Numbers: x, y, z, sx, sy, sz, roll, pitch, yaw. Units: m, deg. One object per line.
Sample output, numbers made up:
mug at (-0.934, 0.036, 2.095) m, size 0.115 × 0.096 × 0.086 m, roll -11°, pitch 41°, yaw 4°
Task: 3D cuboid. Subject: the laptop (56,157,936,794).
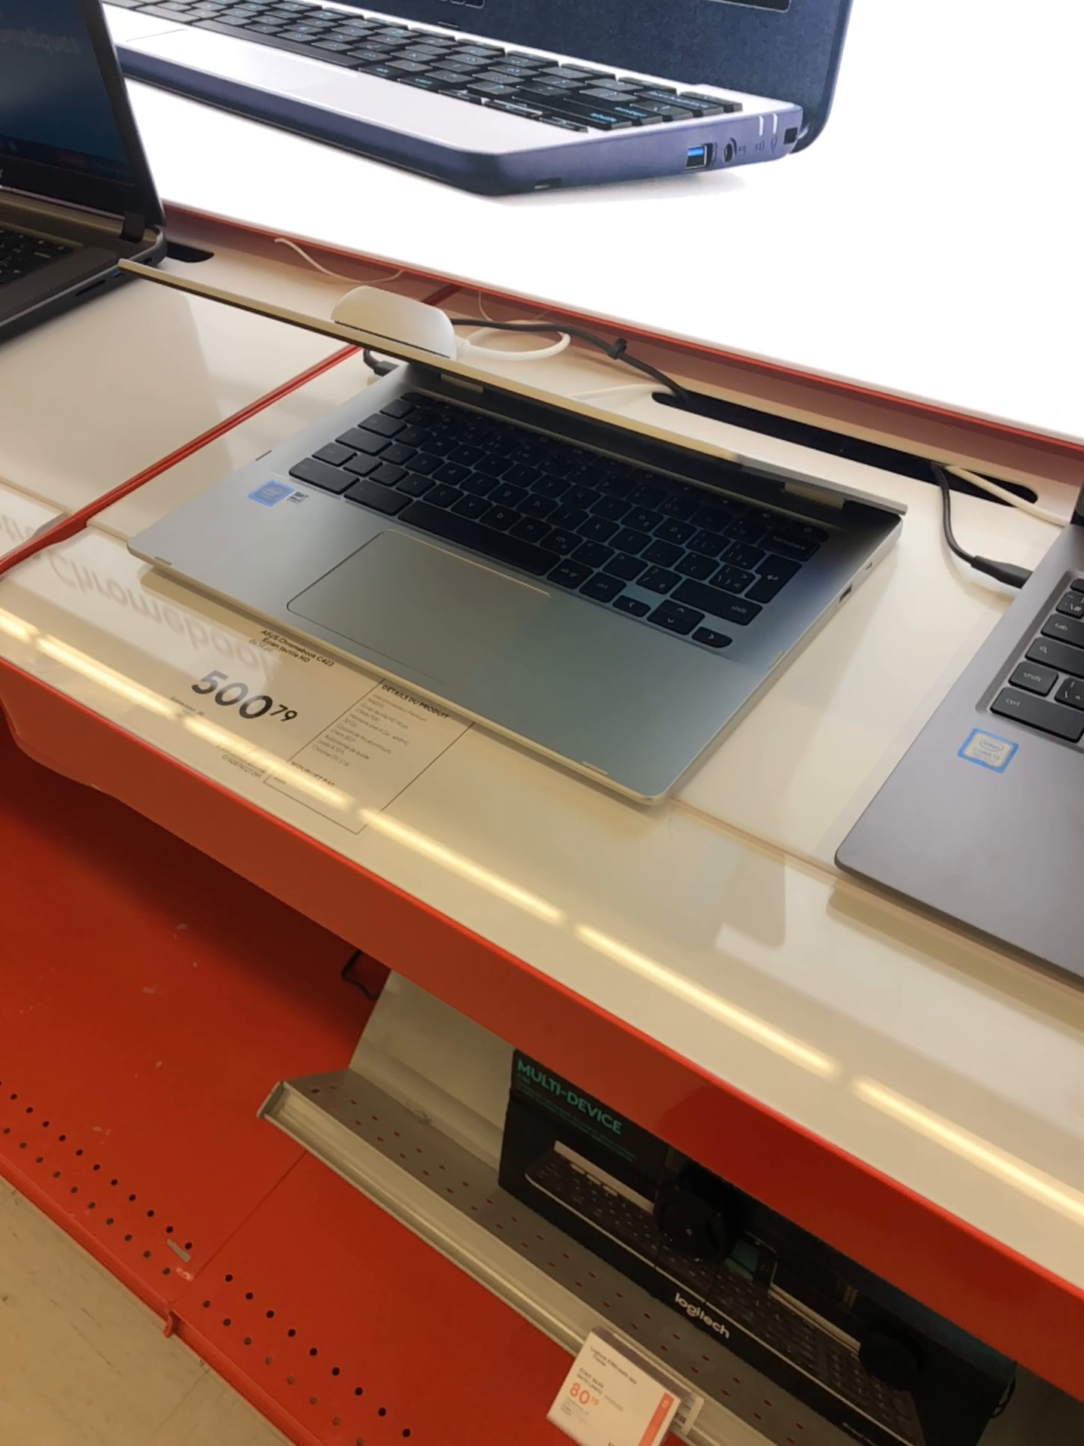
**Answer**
laptop at (-0.021, -0.138, 0.553) m, size 0.312 × 0.118 × 0.213 m, roll 25°, pitch 52°, yaw 27°
